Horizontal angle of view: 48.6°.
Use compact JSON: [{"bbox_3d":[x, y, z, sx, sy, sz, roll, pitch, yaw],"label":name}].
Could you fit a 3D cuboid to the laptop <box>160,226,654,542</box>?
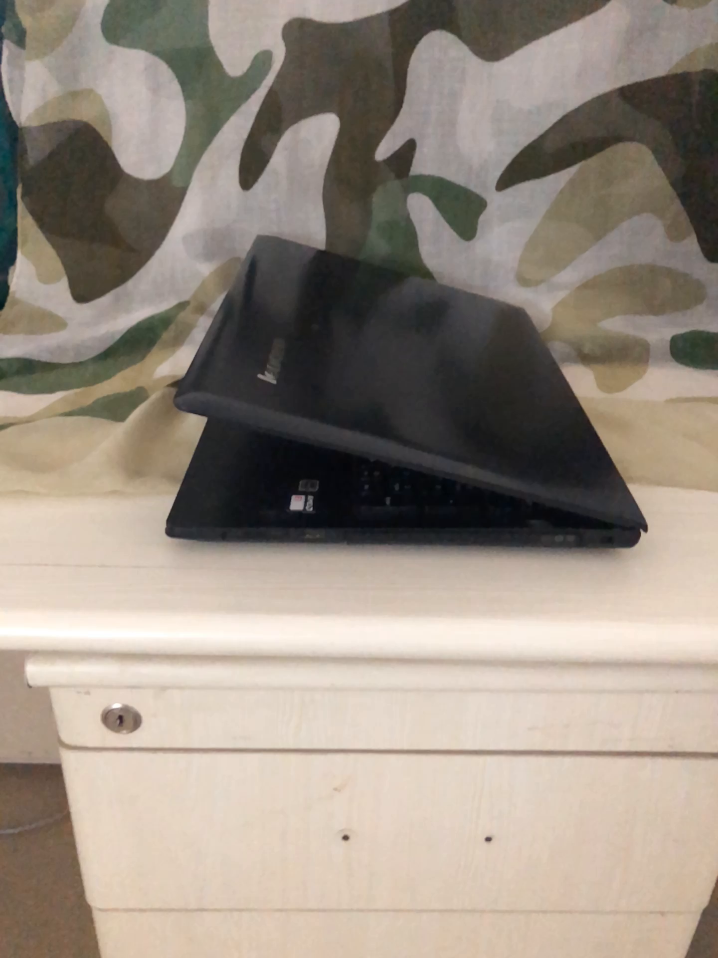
[{"bbox_3d":[0.029,-0.099,0.579,0.249,0.059,0.387,5,29,-1],"label":"laptop"}]
